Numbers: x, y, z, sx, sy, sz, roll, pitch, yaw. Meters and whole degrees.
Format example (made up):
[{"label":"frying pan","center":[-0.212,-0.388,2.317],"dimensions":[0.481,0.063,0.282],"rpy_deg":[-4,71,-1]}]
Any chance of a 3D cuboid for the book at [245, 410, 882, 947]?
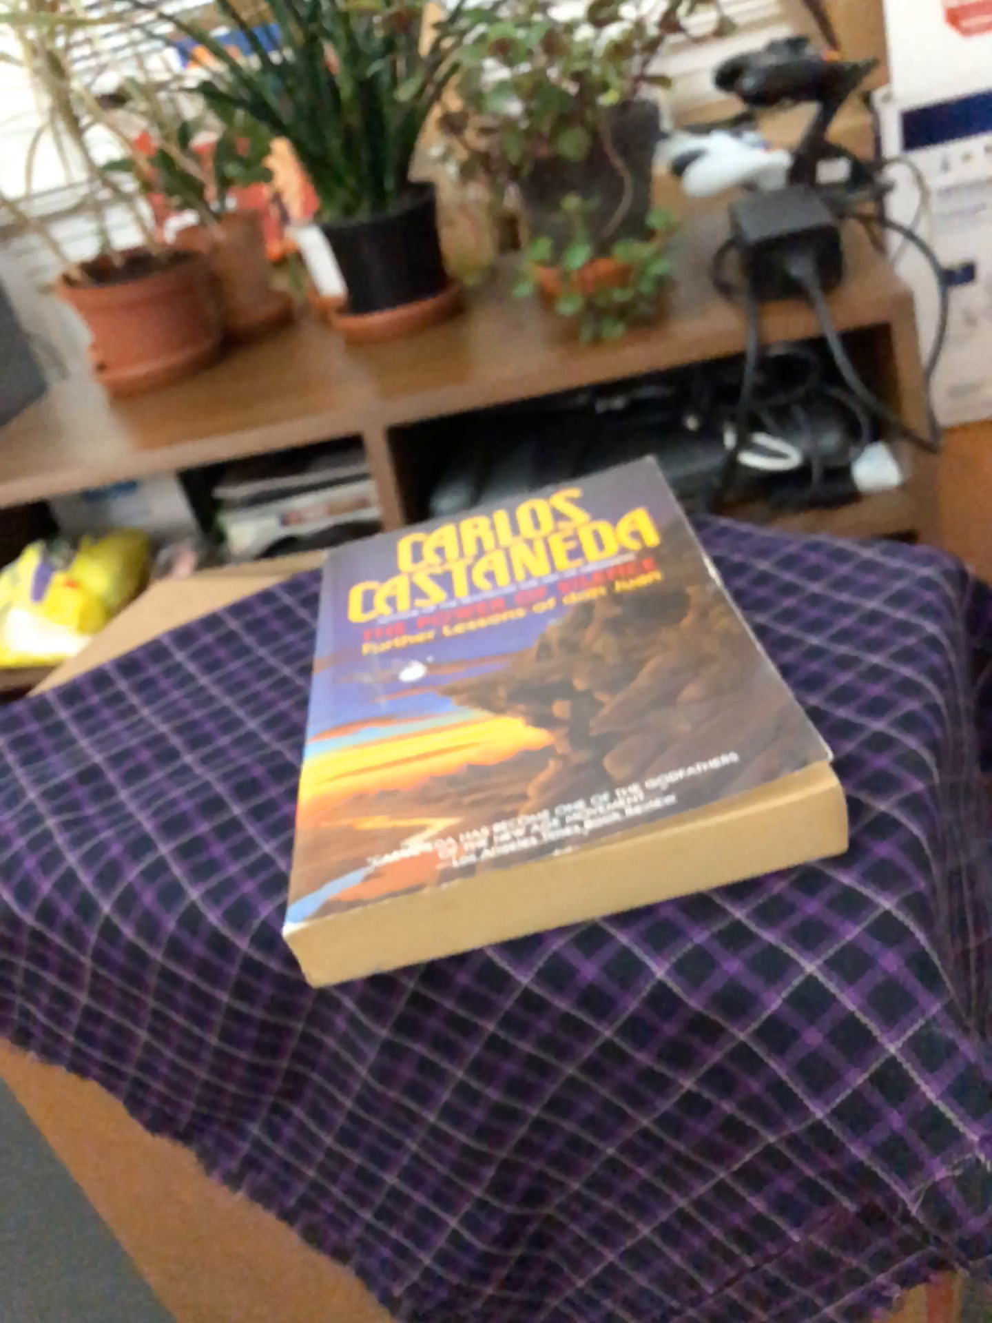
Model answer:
[{"label":"book","center":[0.008,-0.015,0.356],"dimensions":[0.150,0.020,0.221],"rpy_deg":[-14,32,4]}]
